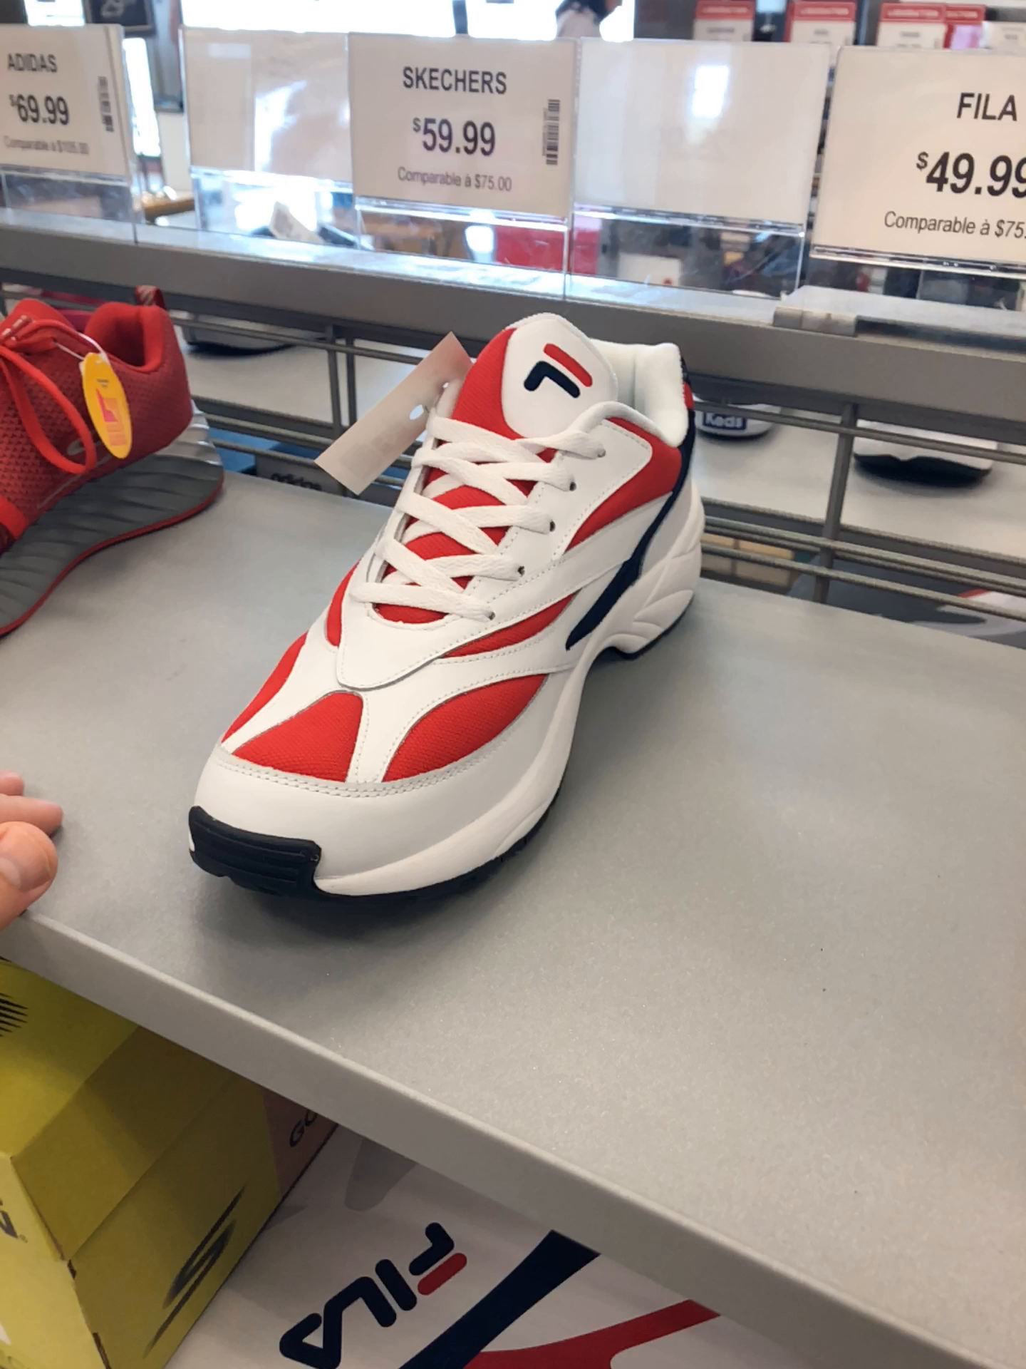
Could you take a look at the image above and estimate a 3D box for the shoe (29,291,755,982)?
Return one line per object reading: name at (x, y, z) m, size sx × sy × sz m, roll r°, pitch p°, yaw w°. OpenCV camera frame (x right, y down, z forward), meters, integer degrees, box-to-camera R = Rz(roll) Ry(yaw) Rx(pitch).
shoe at (-0.017, -0.046, 0.422) m, size 0.120 × 0.129 × 0.272 m, roll 15°, pitch 34°, yaw 23°
